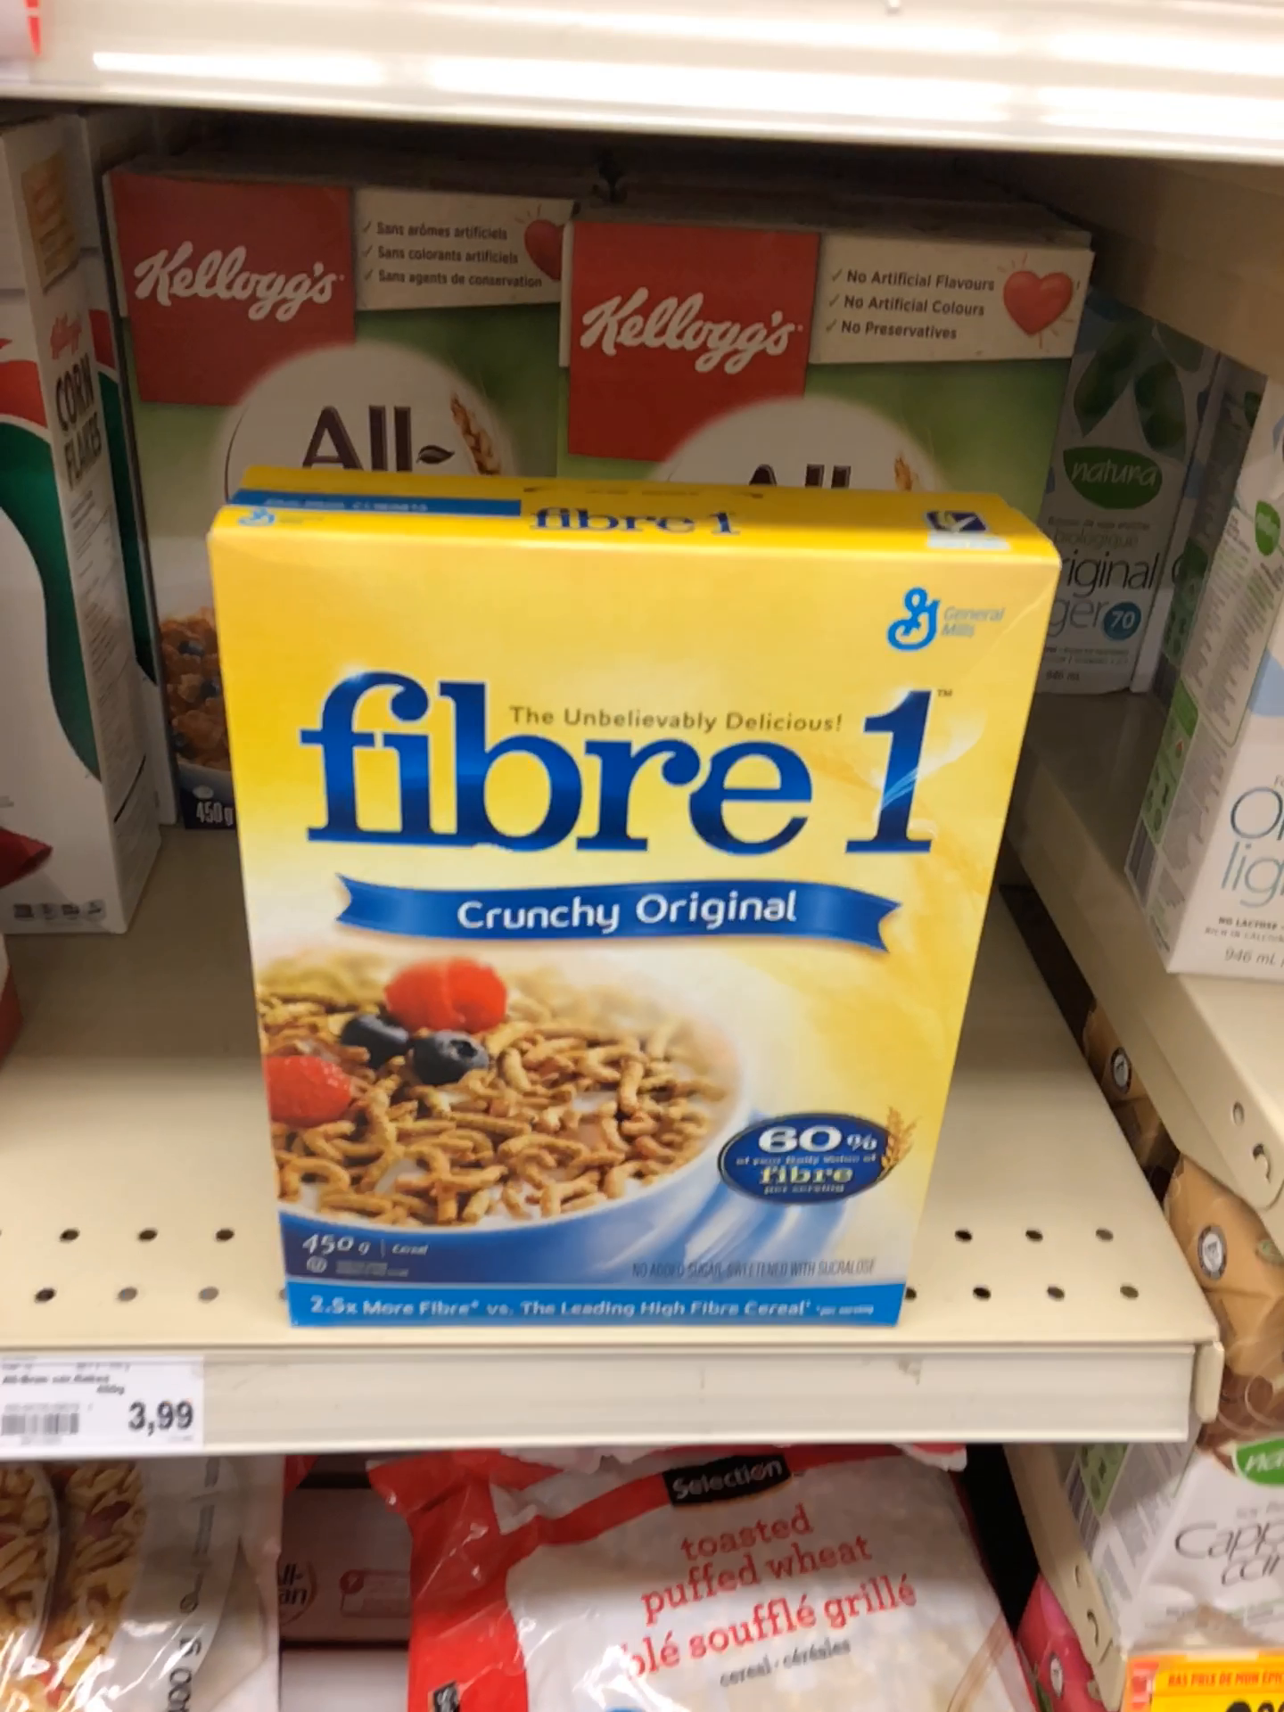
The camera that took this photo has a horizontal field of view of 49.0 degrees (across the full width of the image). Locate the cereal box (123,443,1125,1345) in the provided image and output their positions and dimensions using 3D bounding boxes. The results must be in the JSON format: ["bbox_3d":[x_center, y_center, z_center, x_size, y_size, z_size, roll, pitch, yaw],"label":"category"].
[{"bbox_3d":[-0.009,0.024,0.385,0.210,0.248,0.060,1,31,-4],"label":"cereal box"}]
